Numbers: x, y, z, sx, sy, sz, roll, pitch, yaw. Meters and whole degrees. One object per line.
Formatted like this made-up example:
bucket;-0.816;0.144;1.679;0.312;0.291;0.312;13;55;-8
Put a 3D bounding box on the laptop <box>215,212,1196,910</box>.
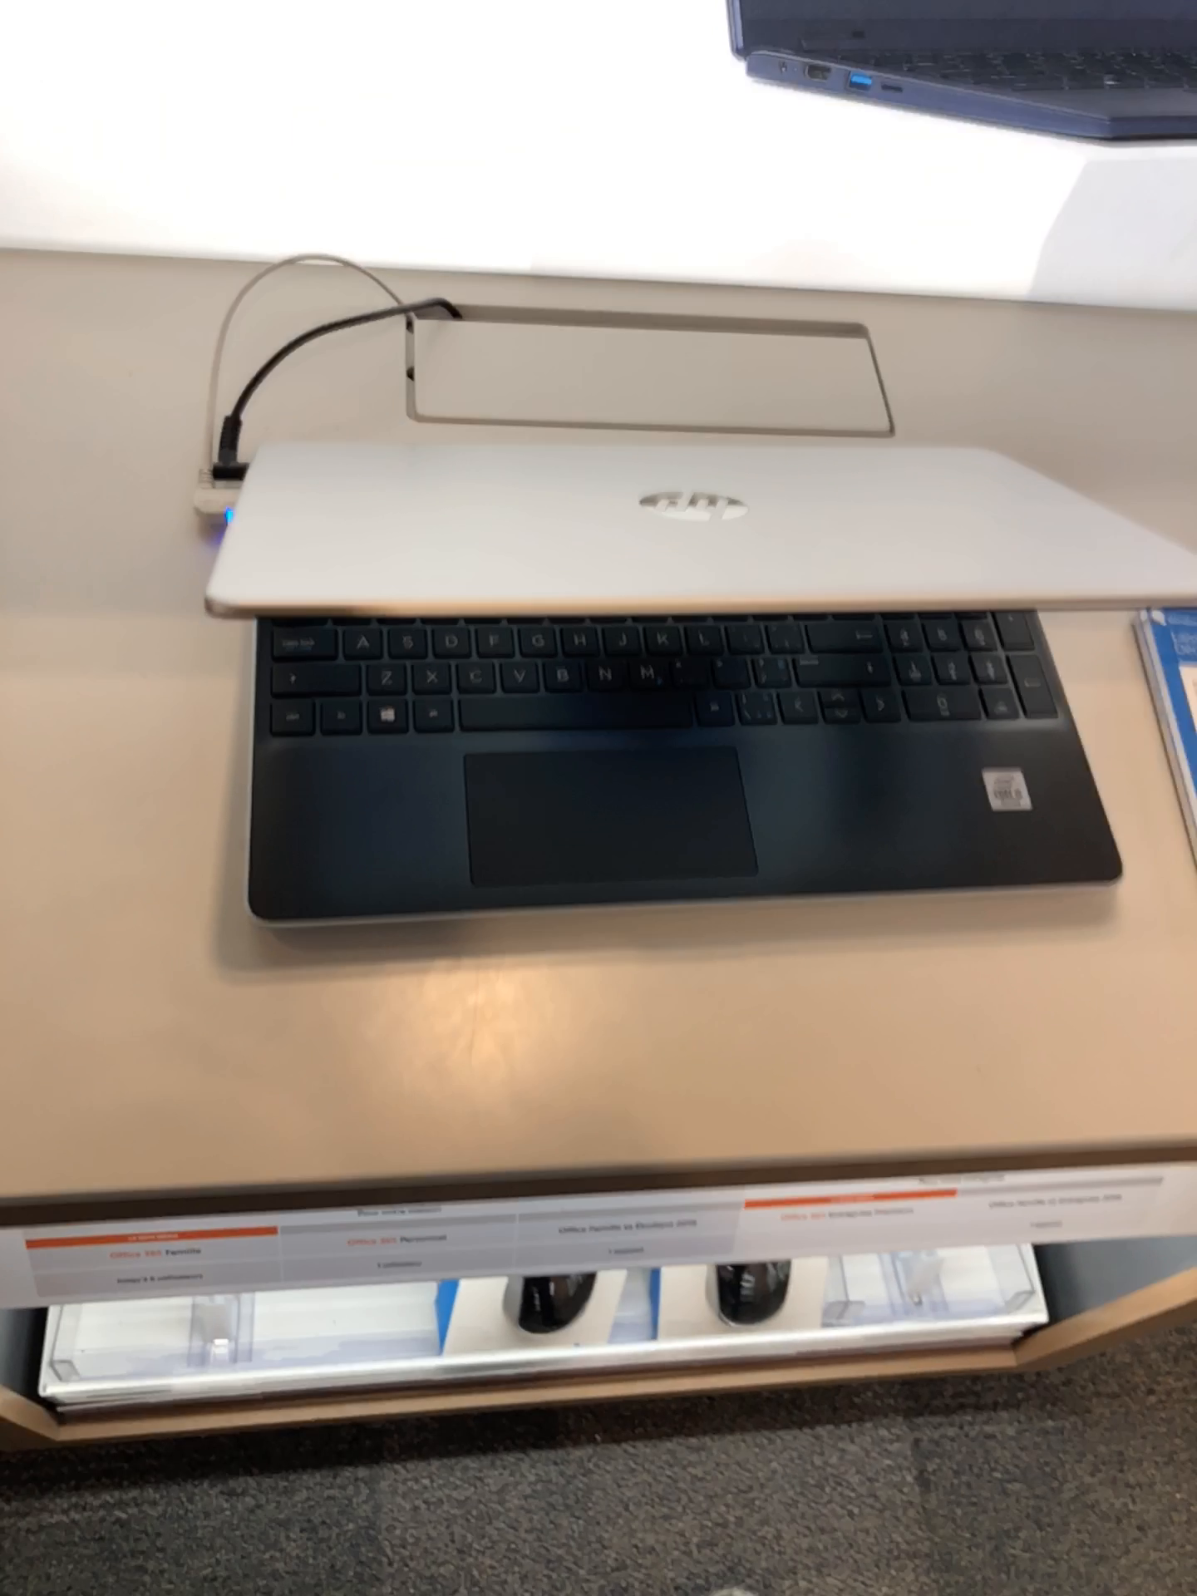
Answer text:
laptop;0.038;-0.096;0.524;0.346;0.131;0.230;-2;60;-9
